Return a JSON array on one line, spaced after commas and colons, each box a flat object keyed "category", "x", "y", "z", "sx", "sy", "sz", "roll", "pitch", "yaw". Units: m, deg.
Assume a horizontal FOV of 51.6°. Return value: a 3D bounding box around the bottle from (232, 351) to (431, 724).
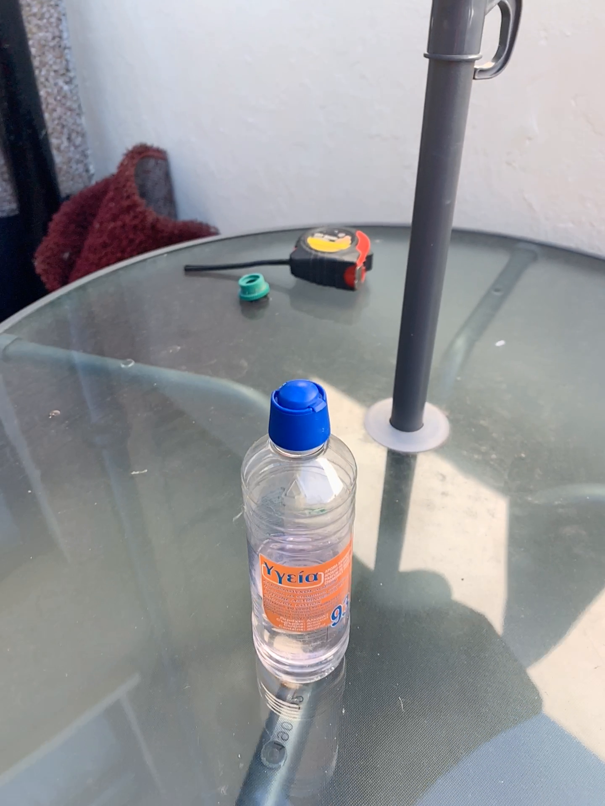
[{"category": "bottle", "x": 0.006, "y": 0.064, "z": 0.271, "sx": 0.060, "sy": 0.158, "sz": 0.061, "roll": 1, "pitch": 36, "yaw": -1}]
